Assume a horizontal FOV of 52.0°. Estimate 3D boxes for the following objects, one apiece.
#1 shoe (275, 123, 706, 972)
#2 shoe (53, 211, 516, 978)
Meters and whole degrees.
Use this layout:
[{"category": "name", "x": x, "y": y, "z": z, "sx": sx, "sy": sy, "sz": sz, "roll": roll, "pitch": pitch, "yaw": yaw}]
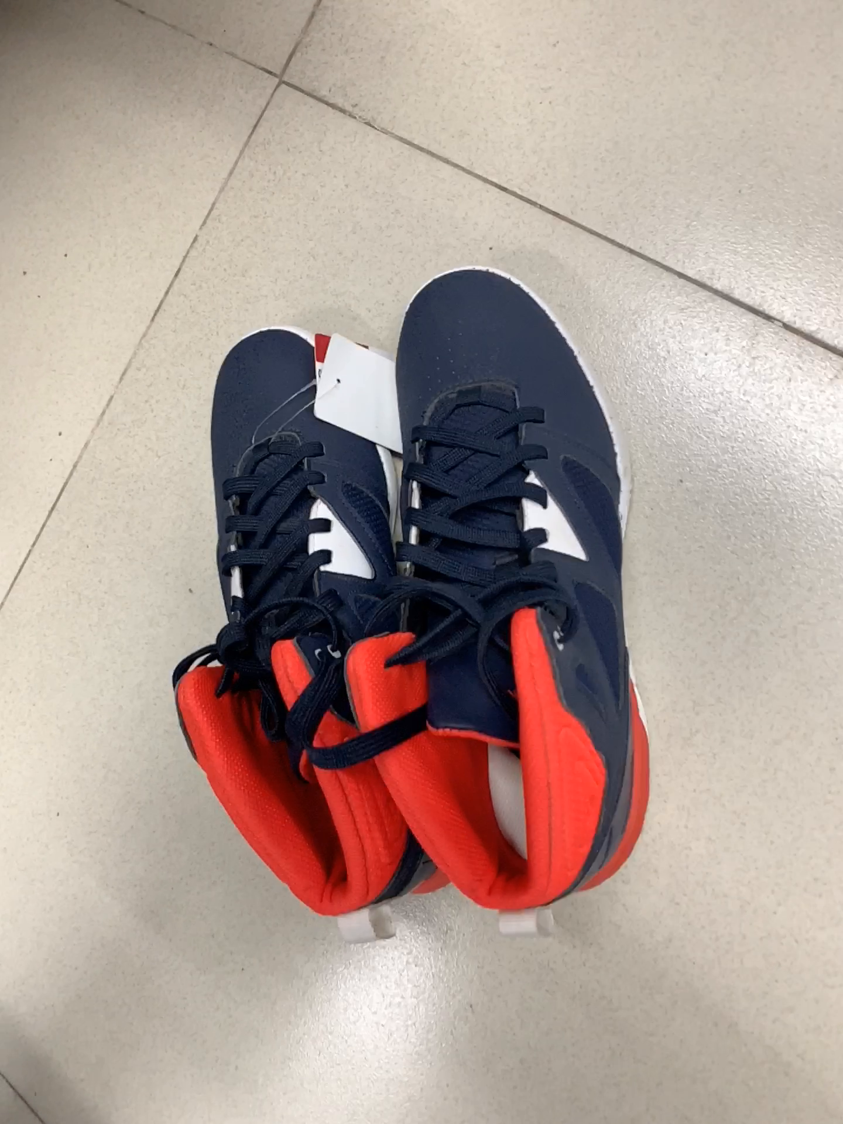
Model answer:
[{"category": "shoe", "x": 0.034, "y": 0.000, "z": 0.366, "sx": 0.110, "sy": 0.120, "sz": 0.290, "roll": -10, "pitch": 84, "yaw": 21}, {"category": "shoe", "x": -0.061, "y": 0.014, "z": 0.395, "sx": 0.110, "sy": 0.100, "sz": 0.290, "roll": -18, "pitch": 81, "yaw": 20}]
